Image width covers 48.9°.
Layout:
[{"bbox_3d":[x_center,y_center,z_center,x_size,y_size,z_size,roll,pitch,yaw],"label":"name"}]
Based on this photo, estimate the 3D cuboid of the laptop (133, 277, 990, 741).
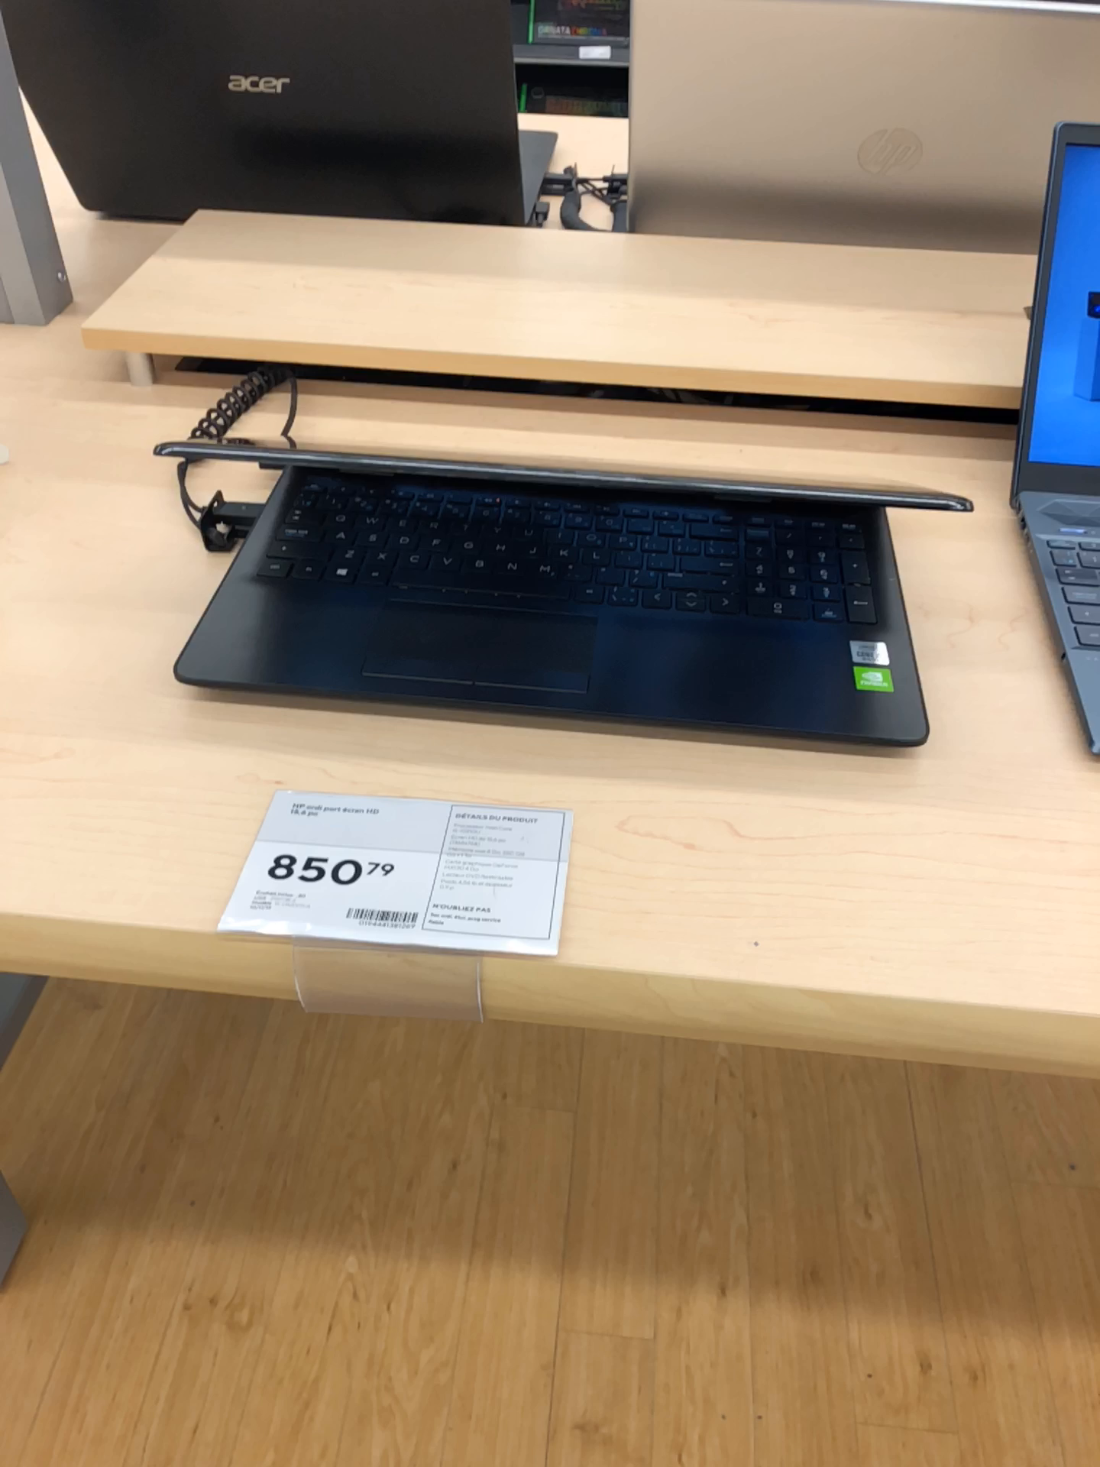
[{"bbox_3d":[0.008,-0.134,0.648,0.371,0.115,0.240,5,41,5],"label":"laptop"}]
